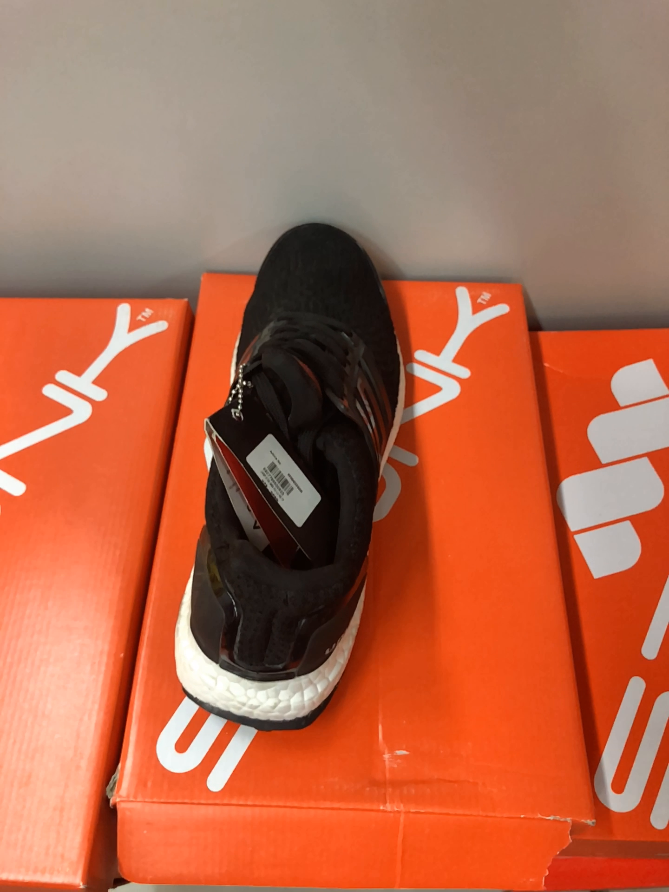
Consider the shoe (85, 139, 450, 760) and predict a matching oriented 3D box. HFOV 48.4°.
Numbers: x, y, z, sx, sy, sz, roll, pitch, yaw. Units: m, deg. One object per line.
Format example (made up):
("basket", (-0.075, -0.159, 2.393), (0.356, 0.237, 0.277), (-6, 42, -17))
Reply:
("shoe", (-0.015, -0.007, 0.387), (0.117, 0.120, 0.290), (8, 60, 1))
